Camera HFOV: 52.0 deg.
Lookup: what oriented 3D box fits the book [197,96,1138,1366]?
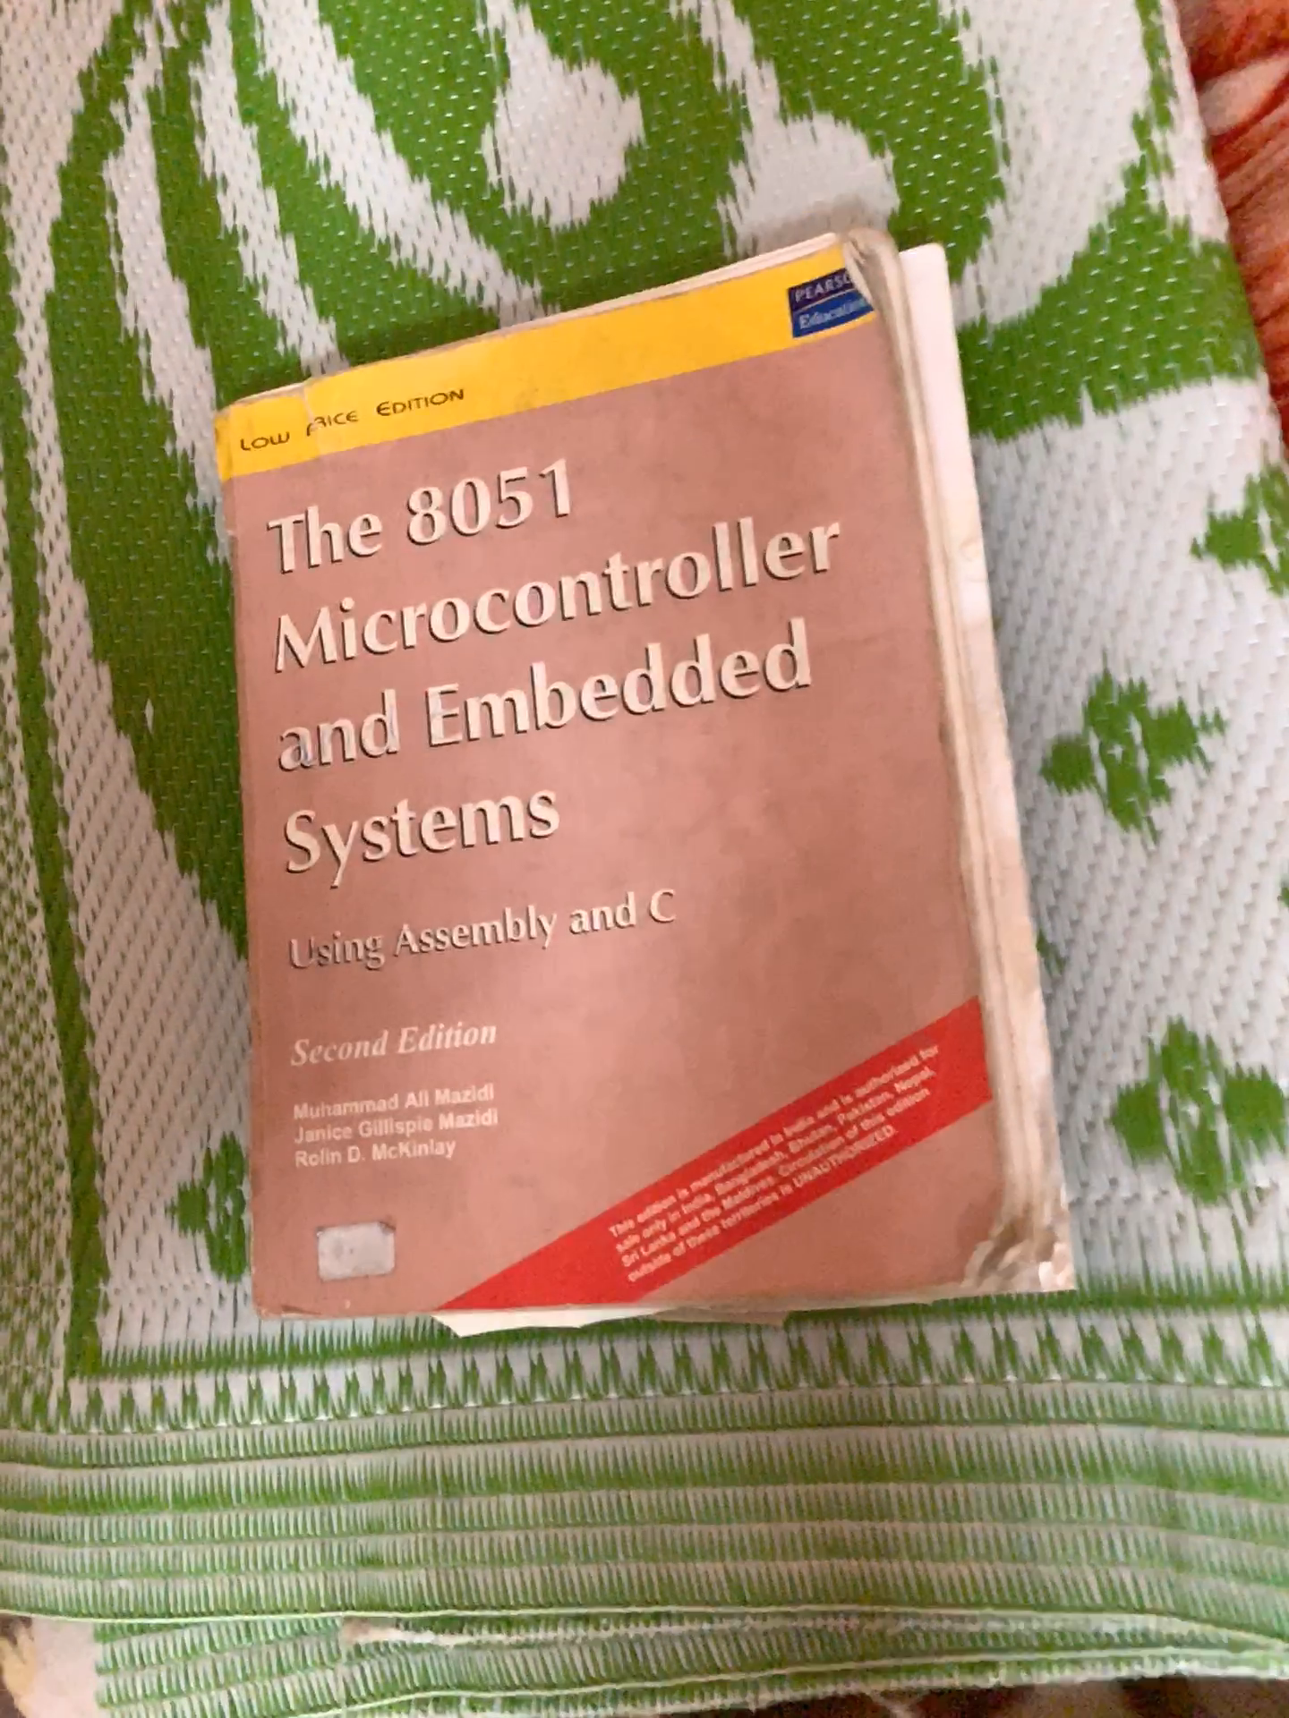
[{"bbox_3d":[-0.008,-0.023,0.368,0.230,0.050,0.300,-9,80,20],"label":"book"}]
